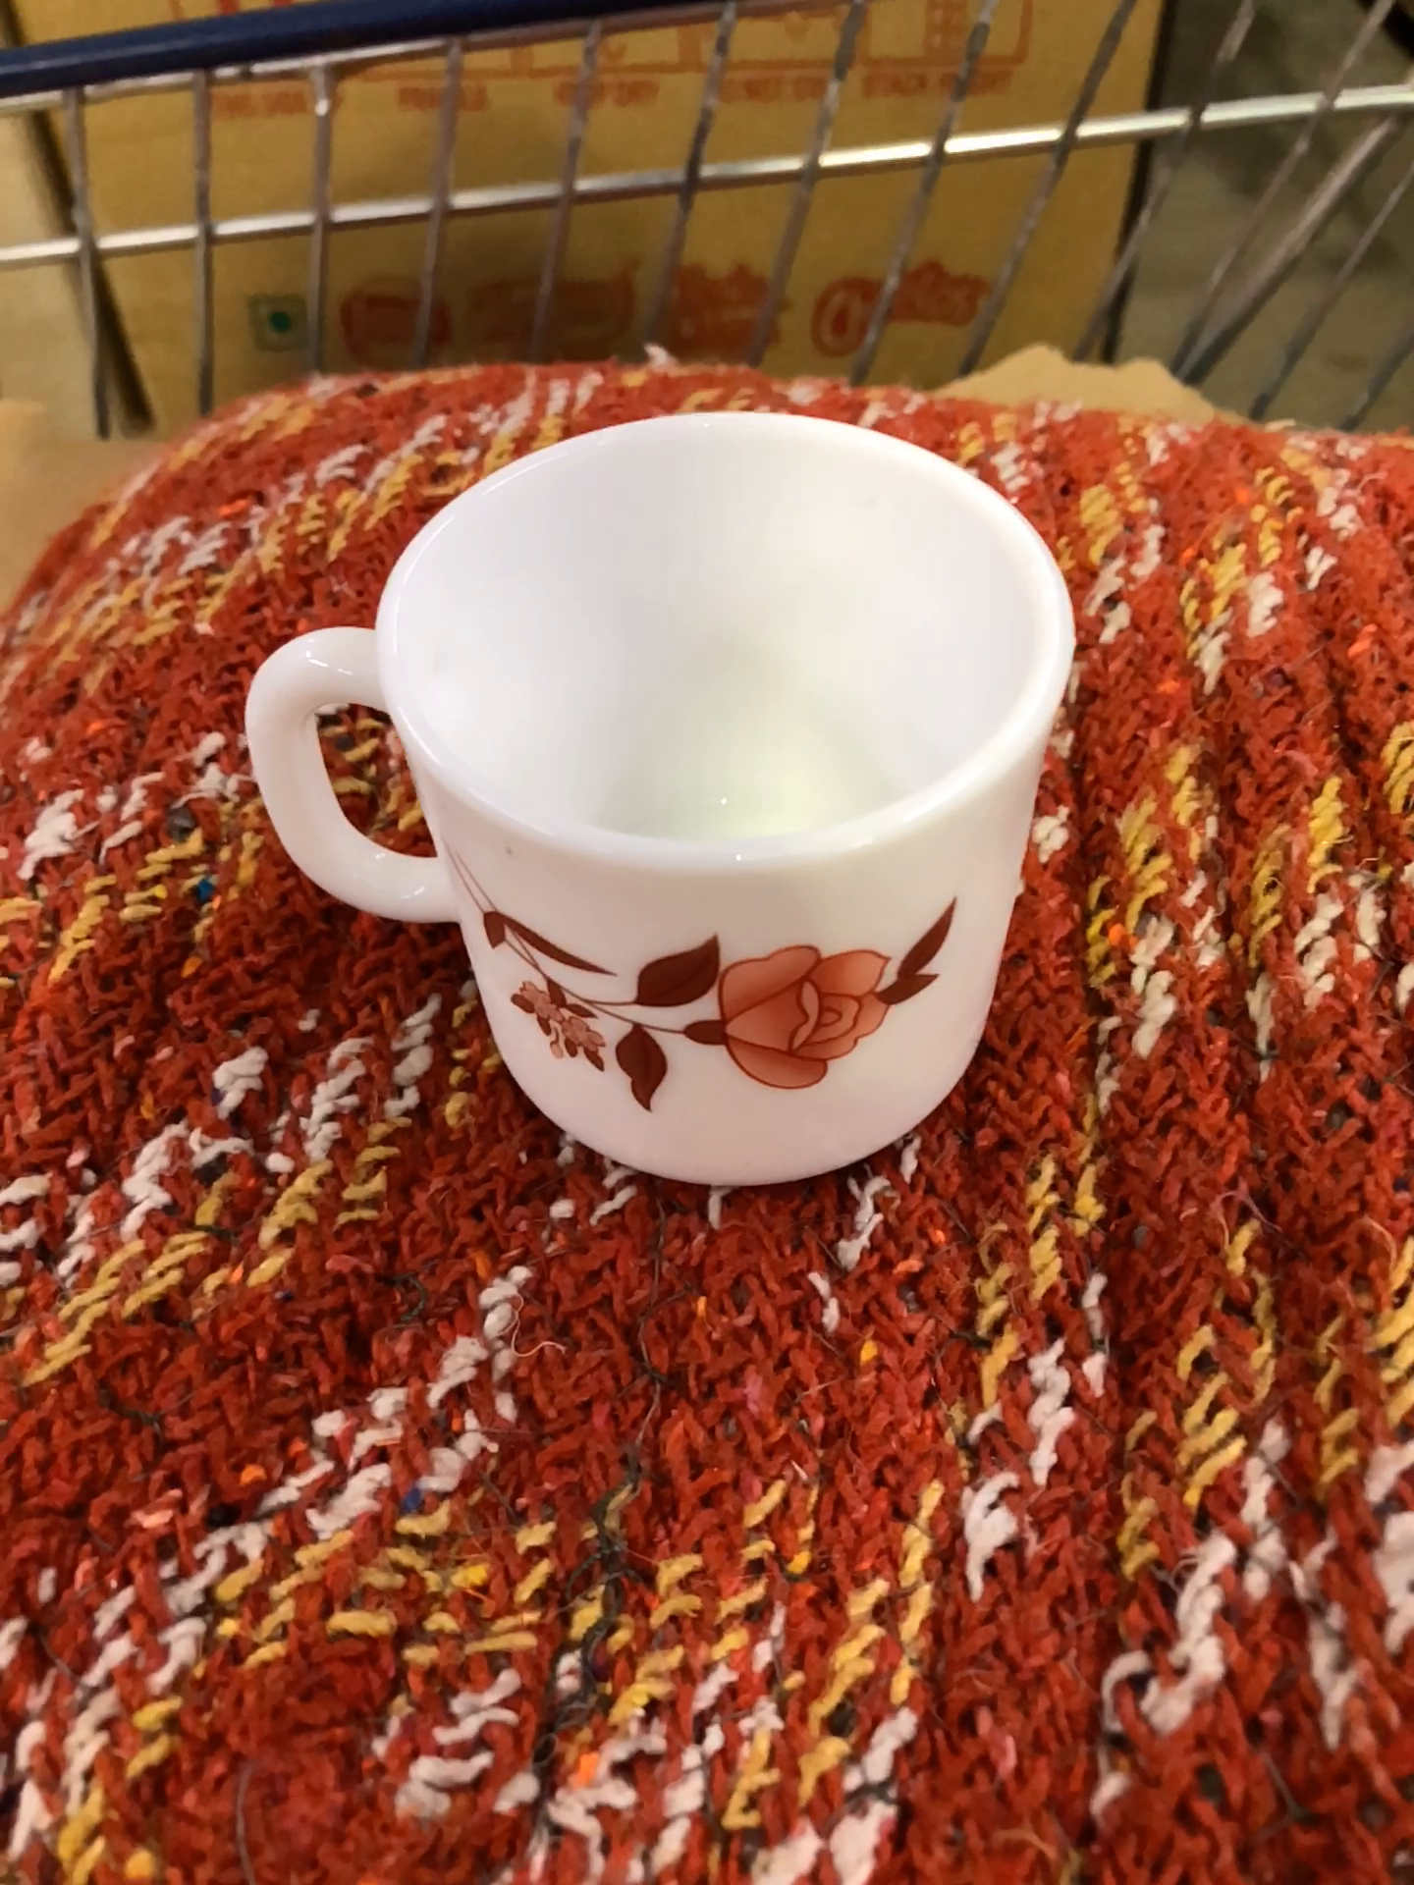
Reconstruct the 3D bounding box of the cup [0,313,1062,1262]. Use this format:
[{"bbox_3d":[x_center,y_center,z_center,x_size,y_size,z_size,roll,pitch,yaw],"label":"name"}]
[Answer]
[{"bbox_3d":[-0.016,-0.016,0.157,0.090,0.060,0.060,6,50,8],"label":"cup"}]
